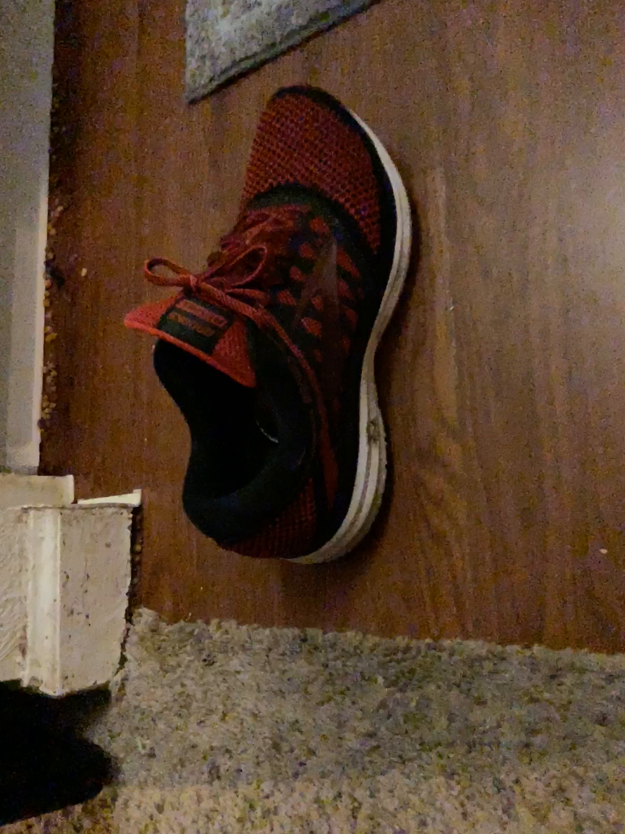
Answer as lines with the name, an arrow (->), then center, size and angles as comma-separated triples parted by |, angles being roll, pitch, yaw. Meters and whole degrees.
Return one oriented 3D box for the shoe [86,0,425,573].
shoe -> -0.025, -0.067, 0.421 | 0.130, 0.140, 0.300 | -3, 80, 36
